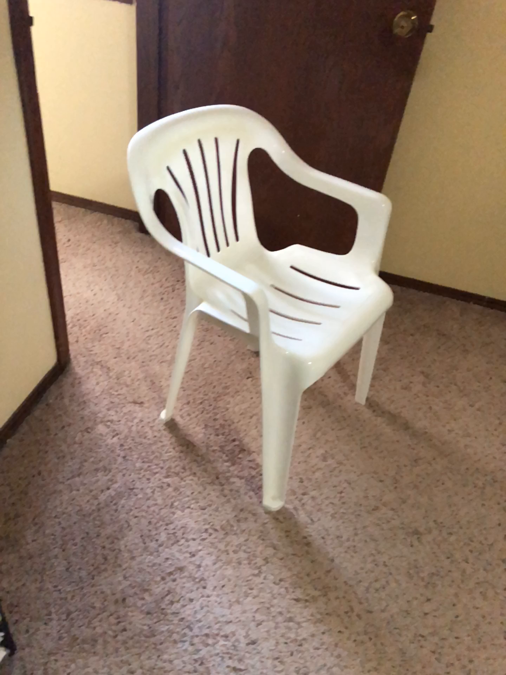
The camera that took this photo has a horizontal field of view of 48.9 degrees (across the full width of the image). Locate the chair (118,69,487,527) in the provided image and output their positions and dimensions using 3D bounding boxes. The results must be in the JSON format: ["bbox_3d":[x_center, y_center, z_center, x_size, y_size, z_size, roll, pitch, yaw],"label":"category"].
[{"bbox_3d":[0.082,-0.108,1.294,0.470,0.768,0.582,29,44,22],"label":"chair"}]
